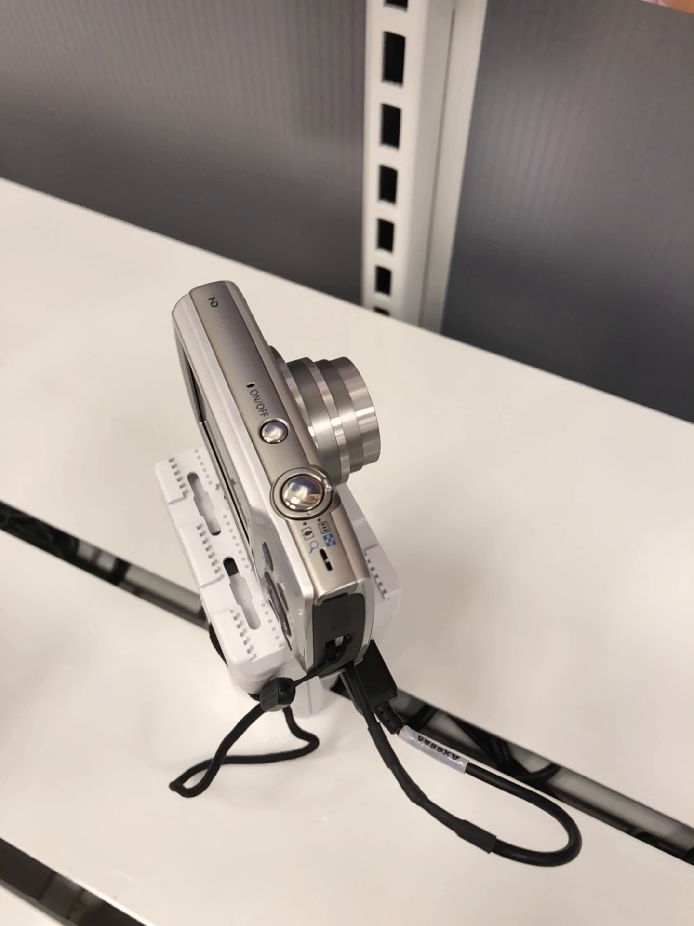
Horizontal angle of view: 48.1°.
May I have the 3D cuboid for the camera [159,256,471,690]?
[{"bbox_3d":[-0.011,0.002,0.202,0.042,0.055,0.089,-19,59,-12],"label":"camera"}]
